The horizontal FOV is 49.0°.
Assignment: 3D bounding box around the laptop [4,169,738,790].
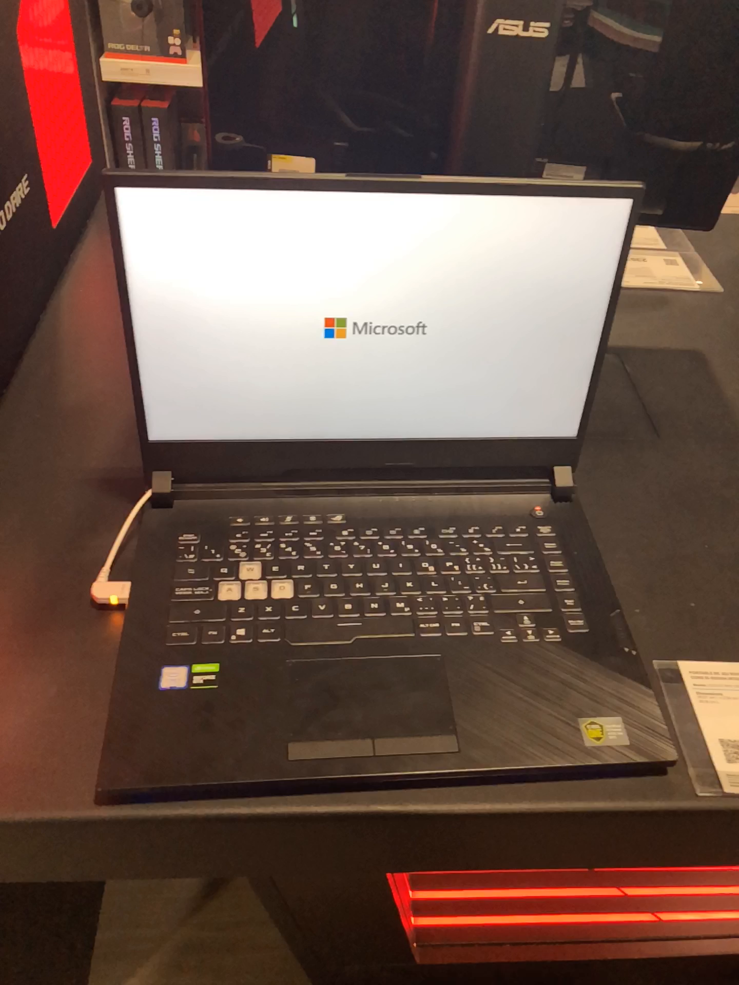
[{"bbox_3d":[0.015,-0.013,0.522,0.360,0.268,0.276,-1,43,-7],"label":"laptop"}]
